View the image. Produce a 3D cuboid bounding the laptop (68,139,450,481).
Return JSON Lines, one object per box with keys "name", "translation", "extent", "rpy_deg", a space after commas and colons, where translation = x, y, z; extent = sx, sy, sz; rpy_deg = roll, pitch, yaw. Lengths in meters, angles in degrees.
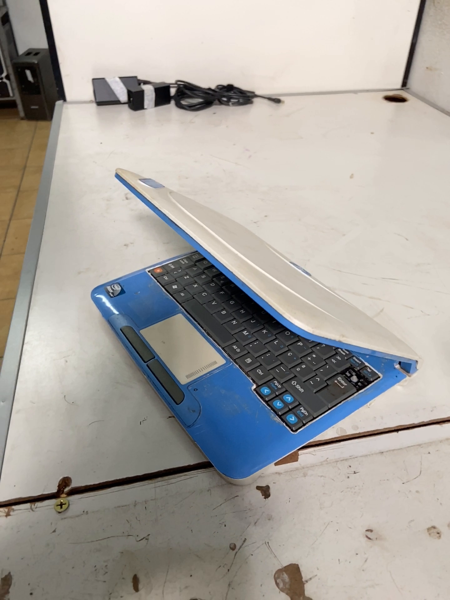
{"name": "laptop", "translation": [0.009, -0.024, 0.387], "extent": [0.182, 0.116, 0.248], "rpy_deg": [-22, 44, -27]}
